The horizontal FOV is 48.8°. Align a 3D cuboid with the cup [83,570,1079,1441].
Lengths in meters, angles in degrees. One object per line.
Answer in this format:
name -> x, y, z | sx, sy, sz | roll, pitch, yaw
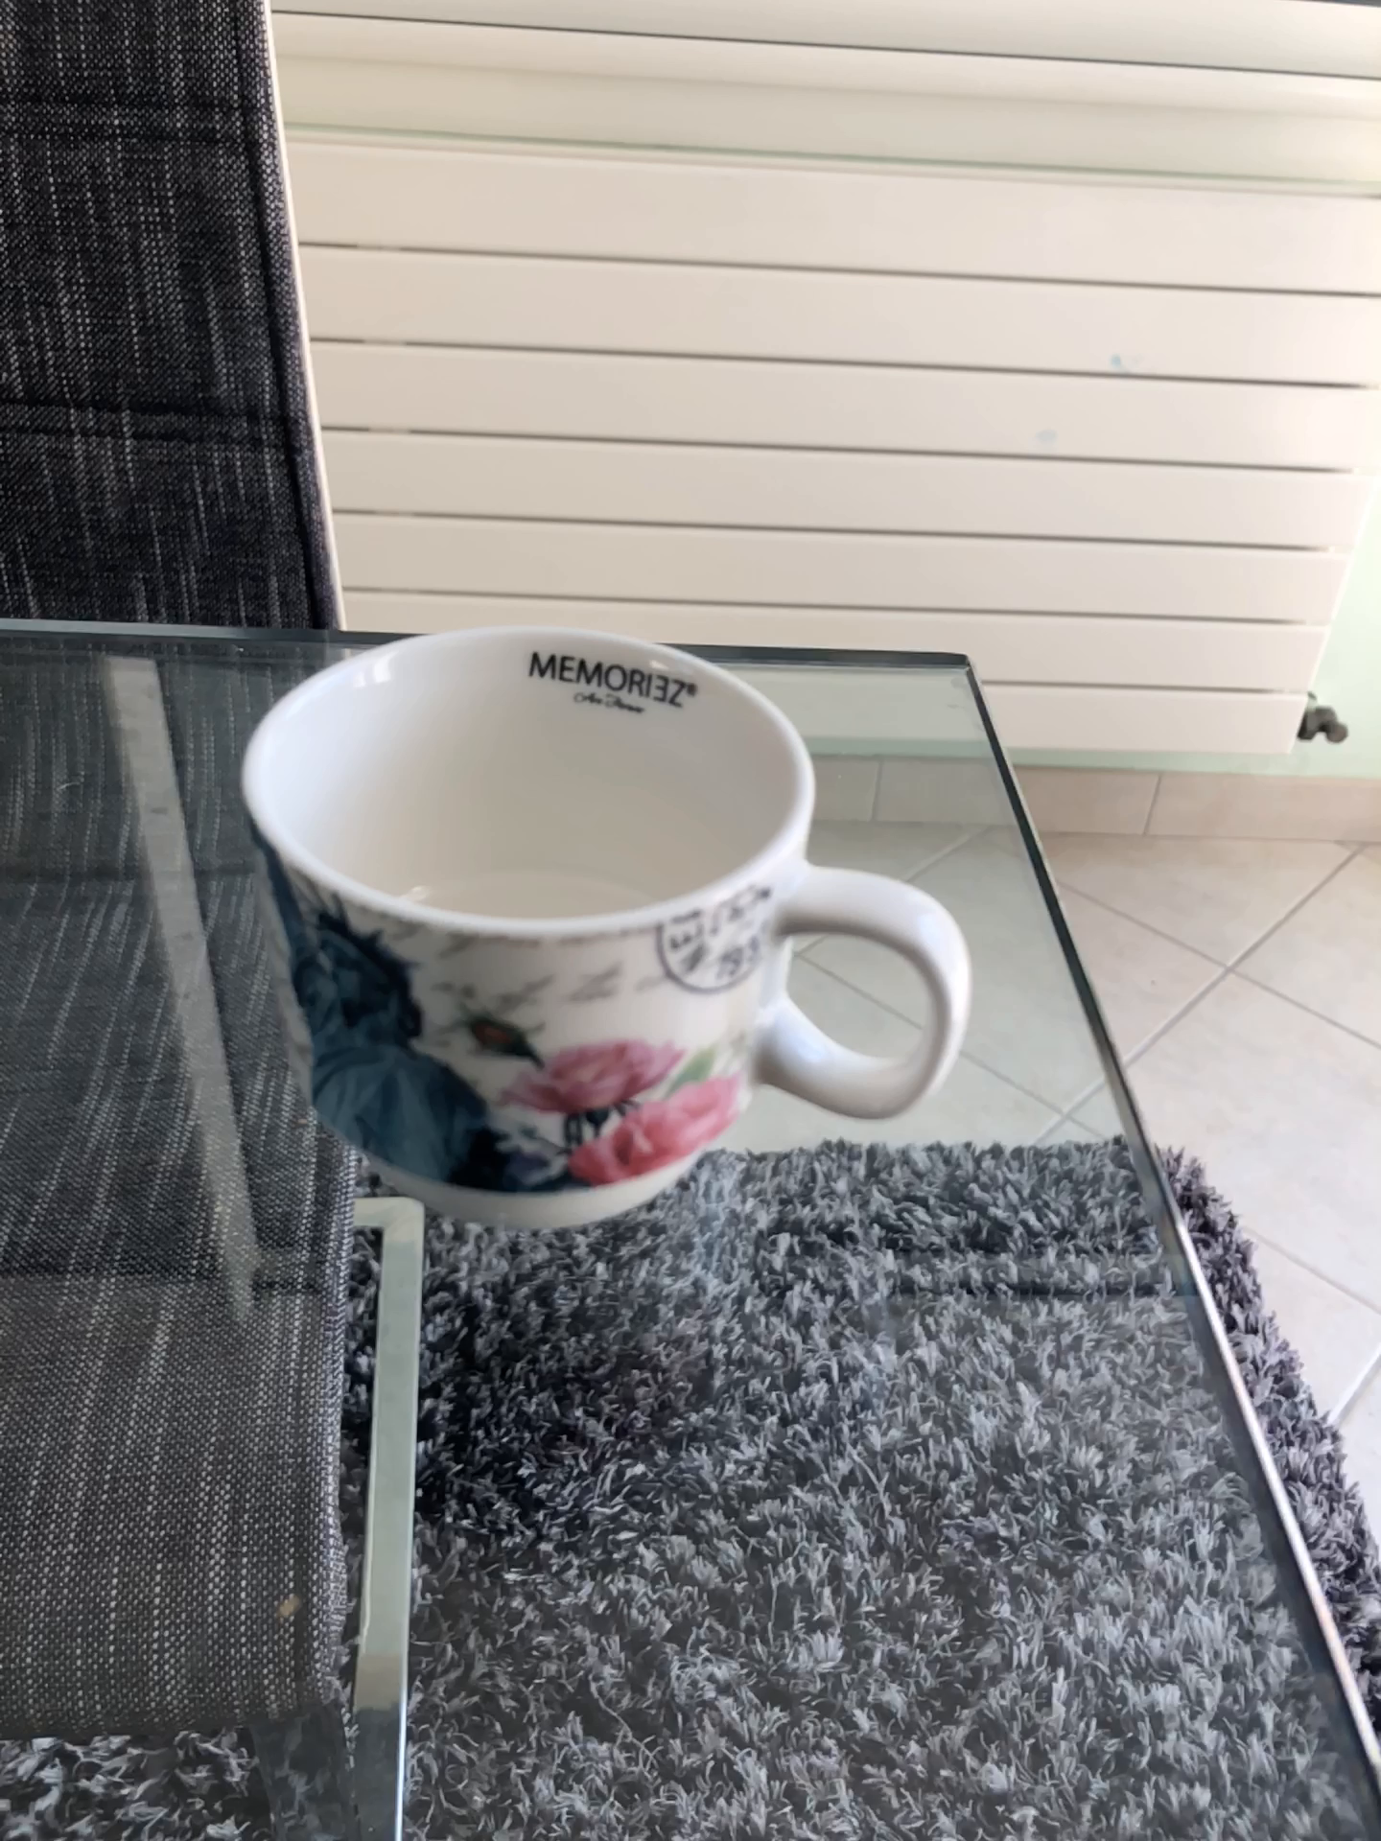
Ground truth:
cup -> -0.010, 0.003, 0.188 | 0.090, 0.050, 0.070 | 19, 40, 19
